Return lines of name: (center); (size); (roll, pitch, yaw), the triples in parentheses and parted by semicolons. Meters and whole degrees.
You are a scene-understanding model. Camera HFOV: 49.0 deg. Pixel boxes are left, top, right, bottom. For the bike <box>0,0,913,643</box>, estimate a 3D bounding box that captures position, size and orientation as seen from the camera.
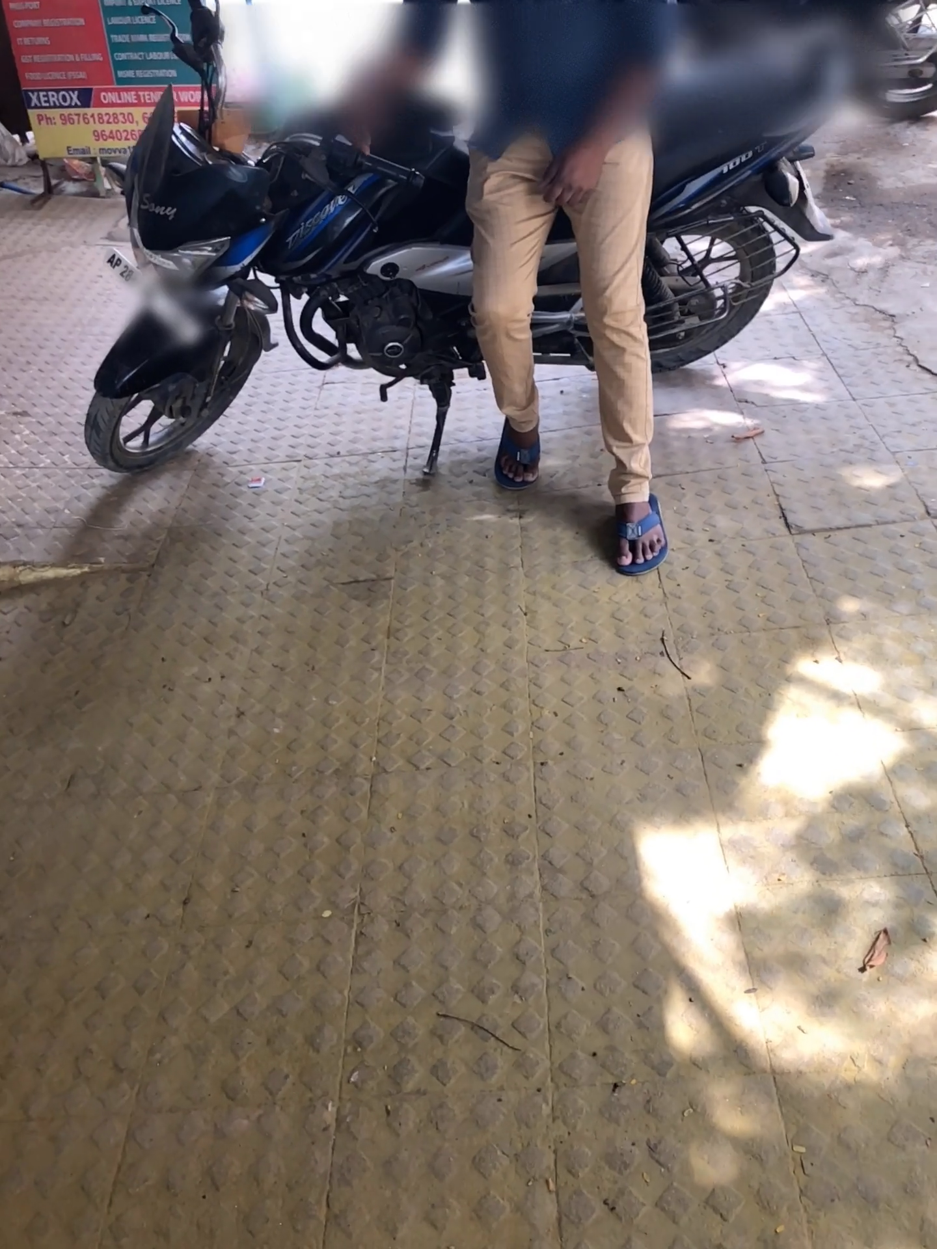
bike: (-0.083, -0.869, 2.324); (1.744, 1.175, 0.788); (-16, 39, -4)
